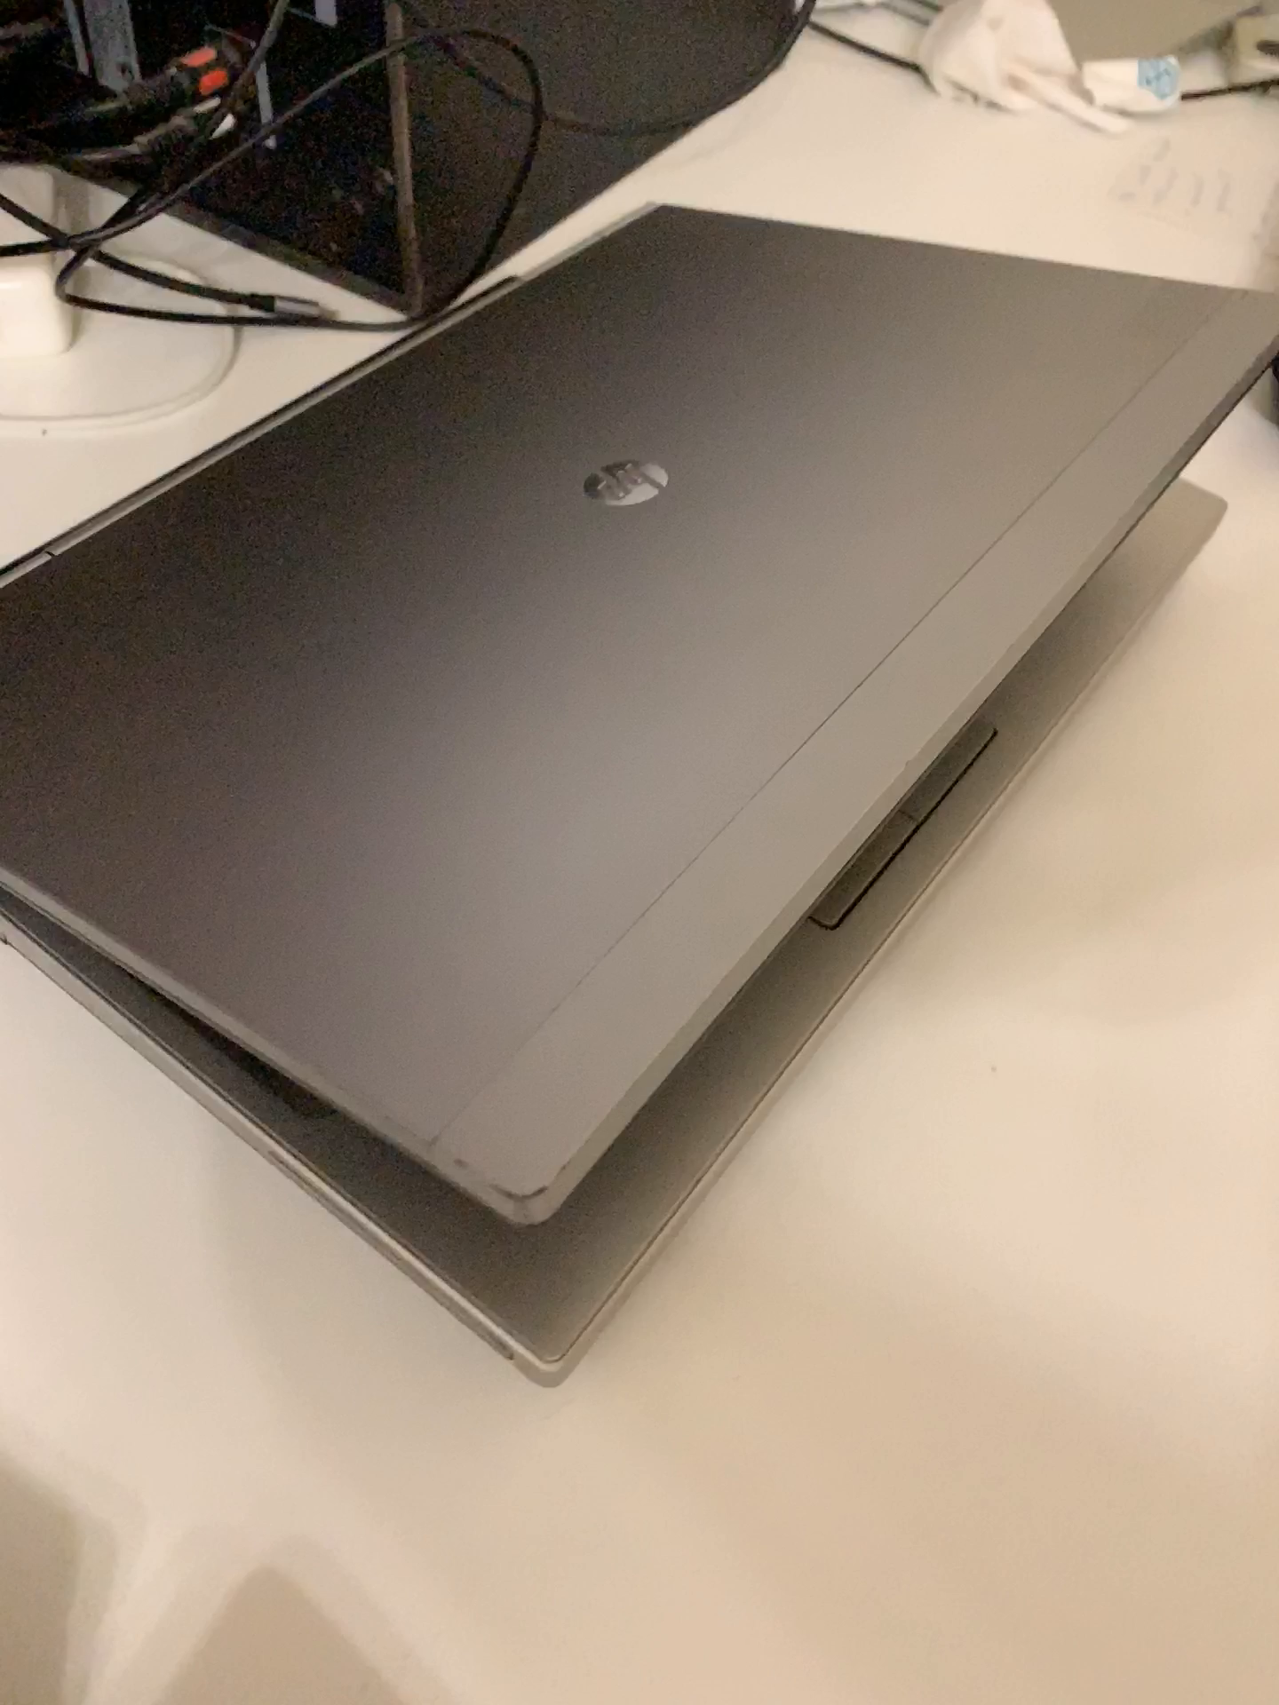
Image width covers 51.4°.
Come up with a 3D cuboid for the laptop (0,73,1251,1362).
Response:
[{"bbox_3d":[-0.007,-0.077,0.311,0.200,0.042,0.305,34,55,15],"label":"laptop"}]
